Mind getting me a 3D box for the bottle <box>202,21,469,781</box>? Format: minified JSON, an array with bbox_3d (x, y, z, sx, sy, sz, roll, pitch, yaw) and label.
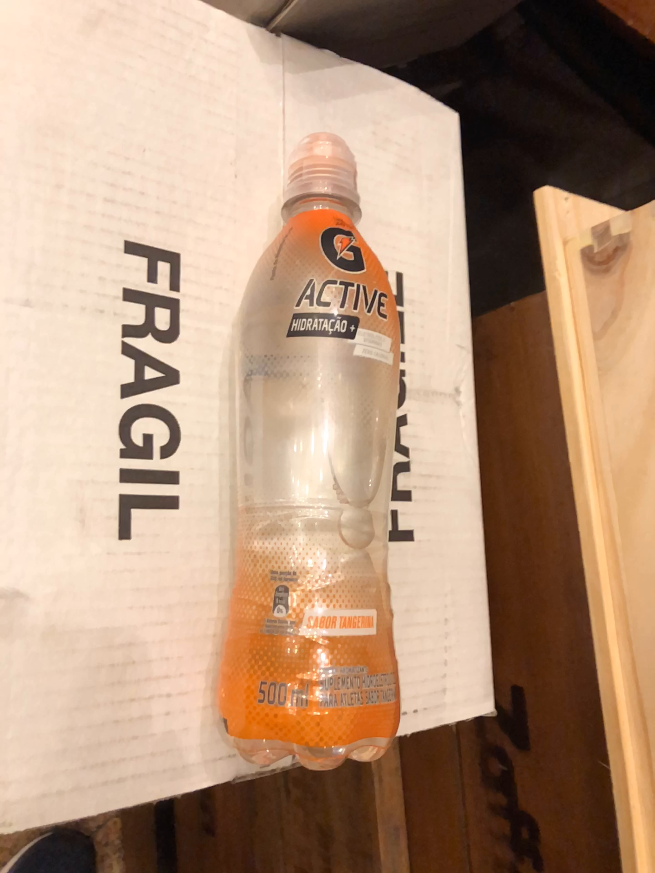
[{"bbox_3d":[0.006,-0.015,0.276,0.070,0.060,0.250,10,76,-34],"label":"bottle"}]
